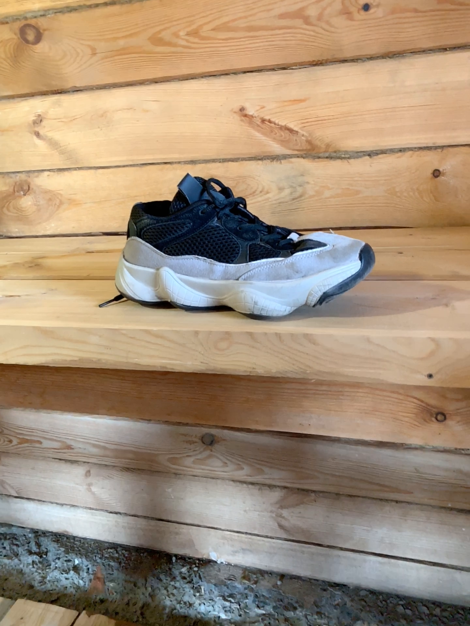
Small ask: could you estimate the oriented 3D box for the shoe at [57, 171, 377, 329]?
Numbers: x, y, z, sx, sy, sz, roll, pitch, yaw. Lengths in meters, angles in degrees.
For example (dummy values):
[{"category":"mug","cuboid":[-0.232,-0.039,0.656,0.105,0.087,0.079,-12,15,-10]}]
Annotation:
[{"category":"shoe","cuboid":[-0.017,-0.070,0.456,0.270,0.109,0.121,6,19,26]}]
